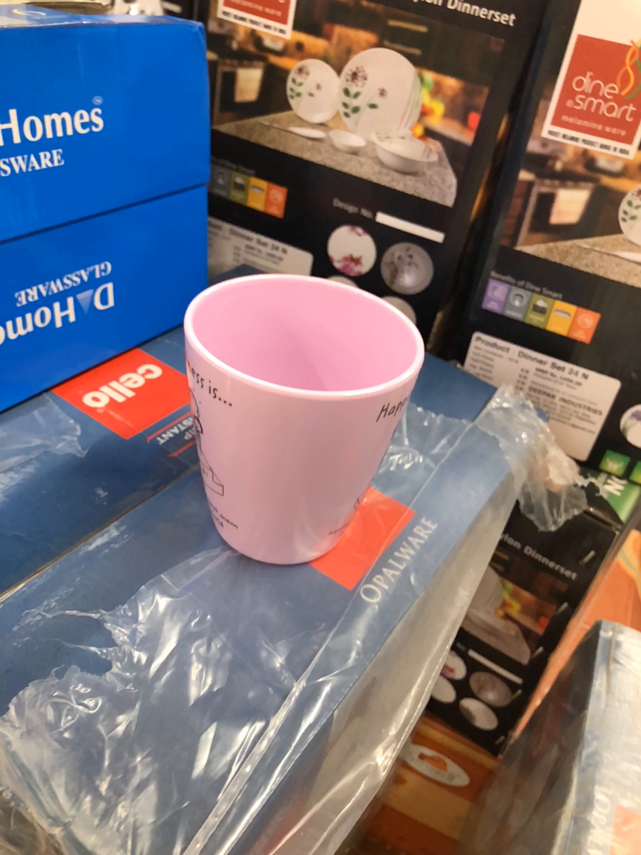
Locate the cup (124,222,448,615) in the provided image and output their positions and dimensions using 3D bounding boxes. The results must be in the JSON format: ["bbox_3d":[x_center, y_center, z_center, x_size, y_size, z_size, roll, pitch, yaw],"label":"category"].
[{"bbox_3d":[-0.010,-0.009,0.286,0.090,0.089,0.111,17,37,4],"label":"cup"}]
